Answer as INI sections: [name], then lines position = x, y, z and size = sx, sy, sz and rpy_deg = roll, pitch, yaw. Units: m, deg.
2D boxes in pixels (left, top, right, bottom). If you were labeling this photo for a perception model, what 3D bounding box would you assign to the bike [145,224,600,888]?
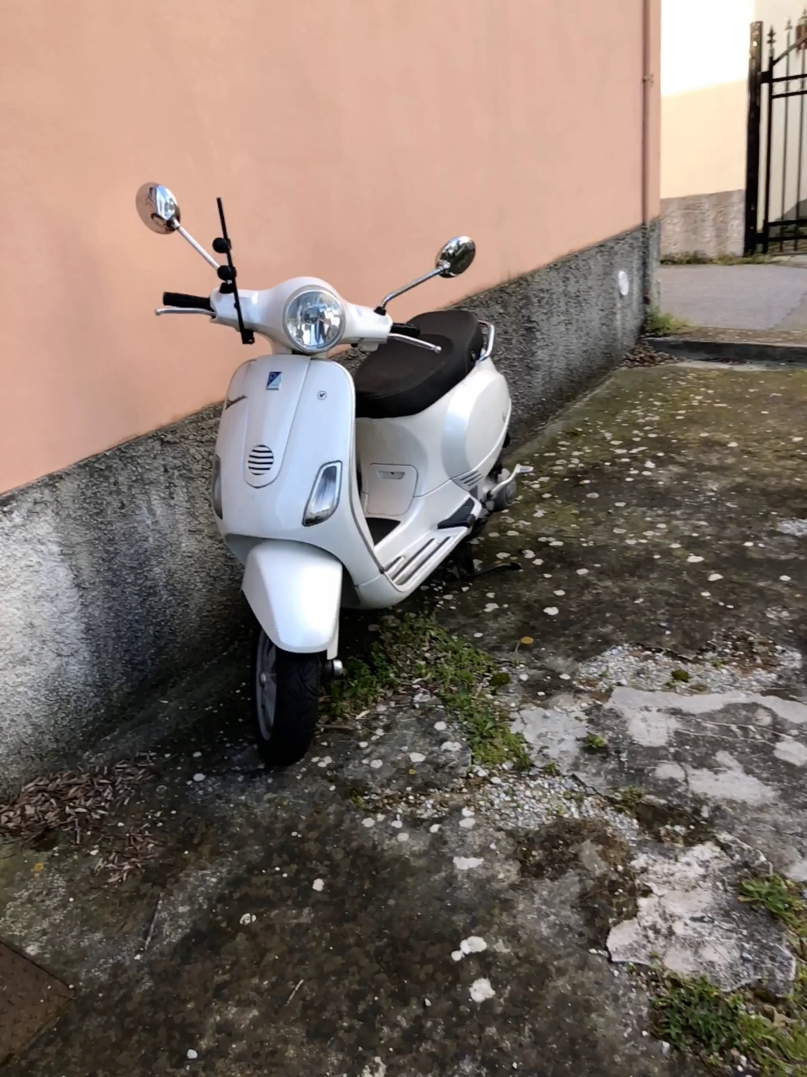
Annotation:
[bike]
position = 0.100, -0.168, 2.506
size = 0.645, 1.085, 1.664
rpy_deg = 1, 25, 22
